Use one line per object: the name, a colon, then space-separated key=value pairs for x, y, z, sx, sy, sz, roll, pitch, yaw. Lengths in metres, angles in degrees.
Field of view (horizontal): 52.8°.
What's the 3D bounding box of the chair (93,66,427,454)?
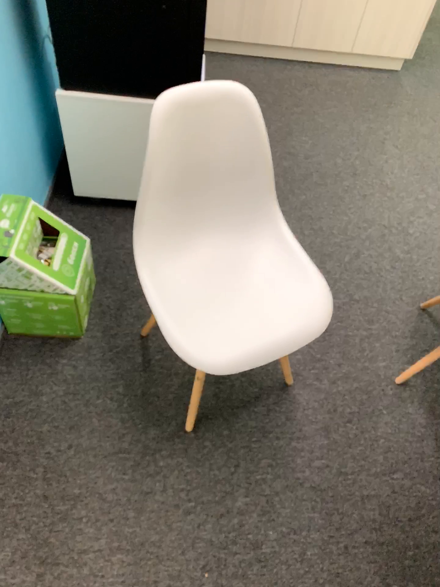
chair: x=0.016 y=-0.044 z=1.169 sx=0.461 sy=0.816 sz=0.501 roll=-18 pitch=56 yaw=-21
